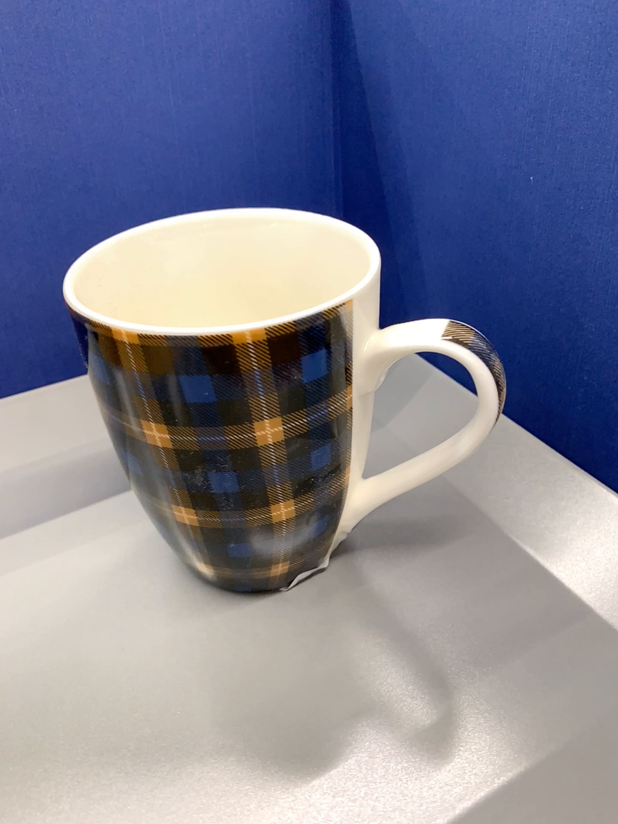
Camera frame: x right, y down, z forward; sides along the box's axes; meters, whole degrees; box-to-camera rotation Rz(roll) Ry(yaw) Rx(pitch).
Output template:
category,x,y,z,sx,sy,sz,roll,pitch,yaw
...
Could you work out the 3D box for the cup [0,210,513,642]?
category,x,y,z,sx,sy,sz,roll,pitch,yaw
cup,-0.010,-0.004,0.201,0.121,0.089,0.095,3,33,9
